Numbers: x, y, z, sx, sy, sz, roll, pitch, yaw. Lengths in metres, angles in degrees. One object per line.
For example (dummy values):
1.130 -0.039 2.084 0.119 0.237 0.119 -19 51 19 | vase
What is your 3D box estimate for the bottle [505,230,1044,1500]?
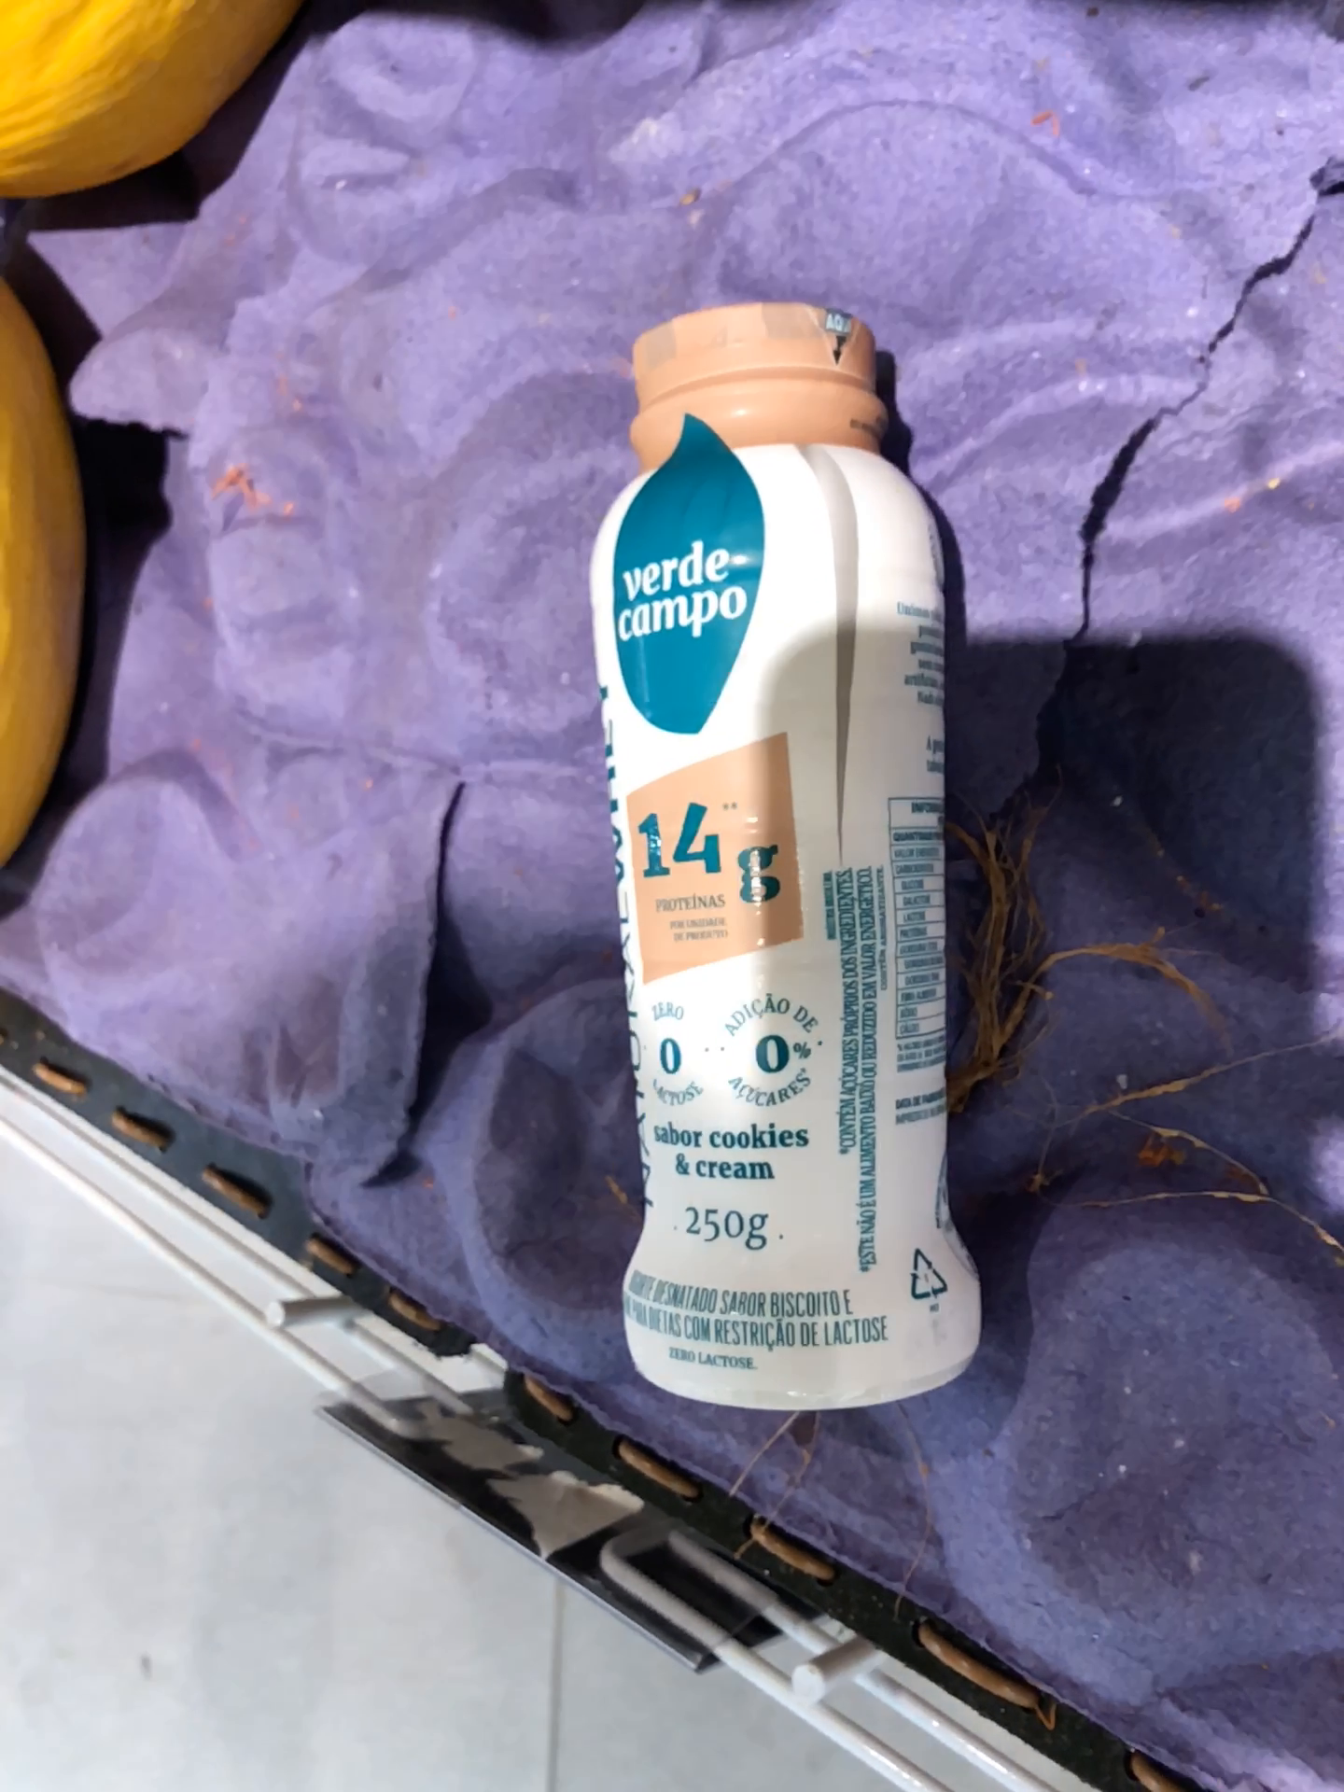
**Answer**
0.015 -0.003 0.221 0.060 0.040 0.160 -3 89 28 | bottle
